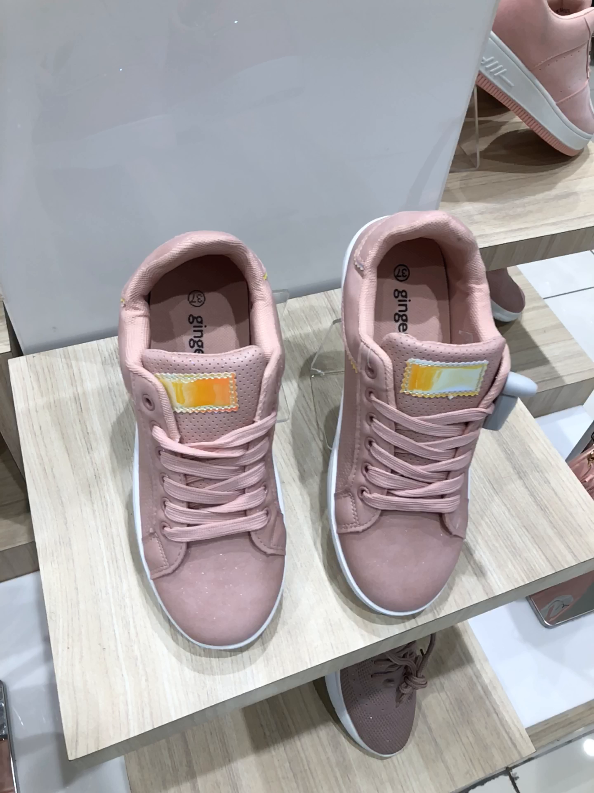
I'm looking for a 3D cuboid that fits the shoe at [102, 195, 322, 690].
[{"bbox_3d":[-0.050,0.022,0.403,0.100,0.100,0.260,-4,93,-7],"label":"shoe"}]

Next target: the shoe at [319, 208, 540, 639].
[{"bbox_3d":[0.075,0.015,0.427,0.100,0.250,0.100,2,9,-4],"label":"shoe"}]
